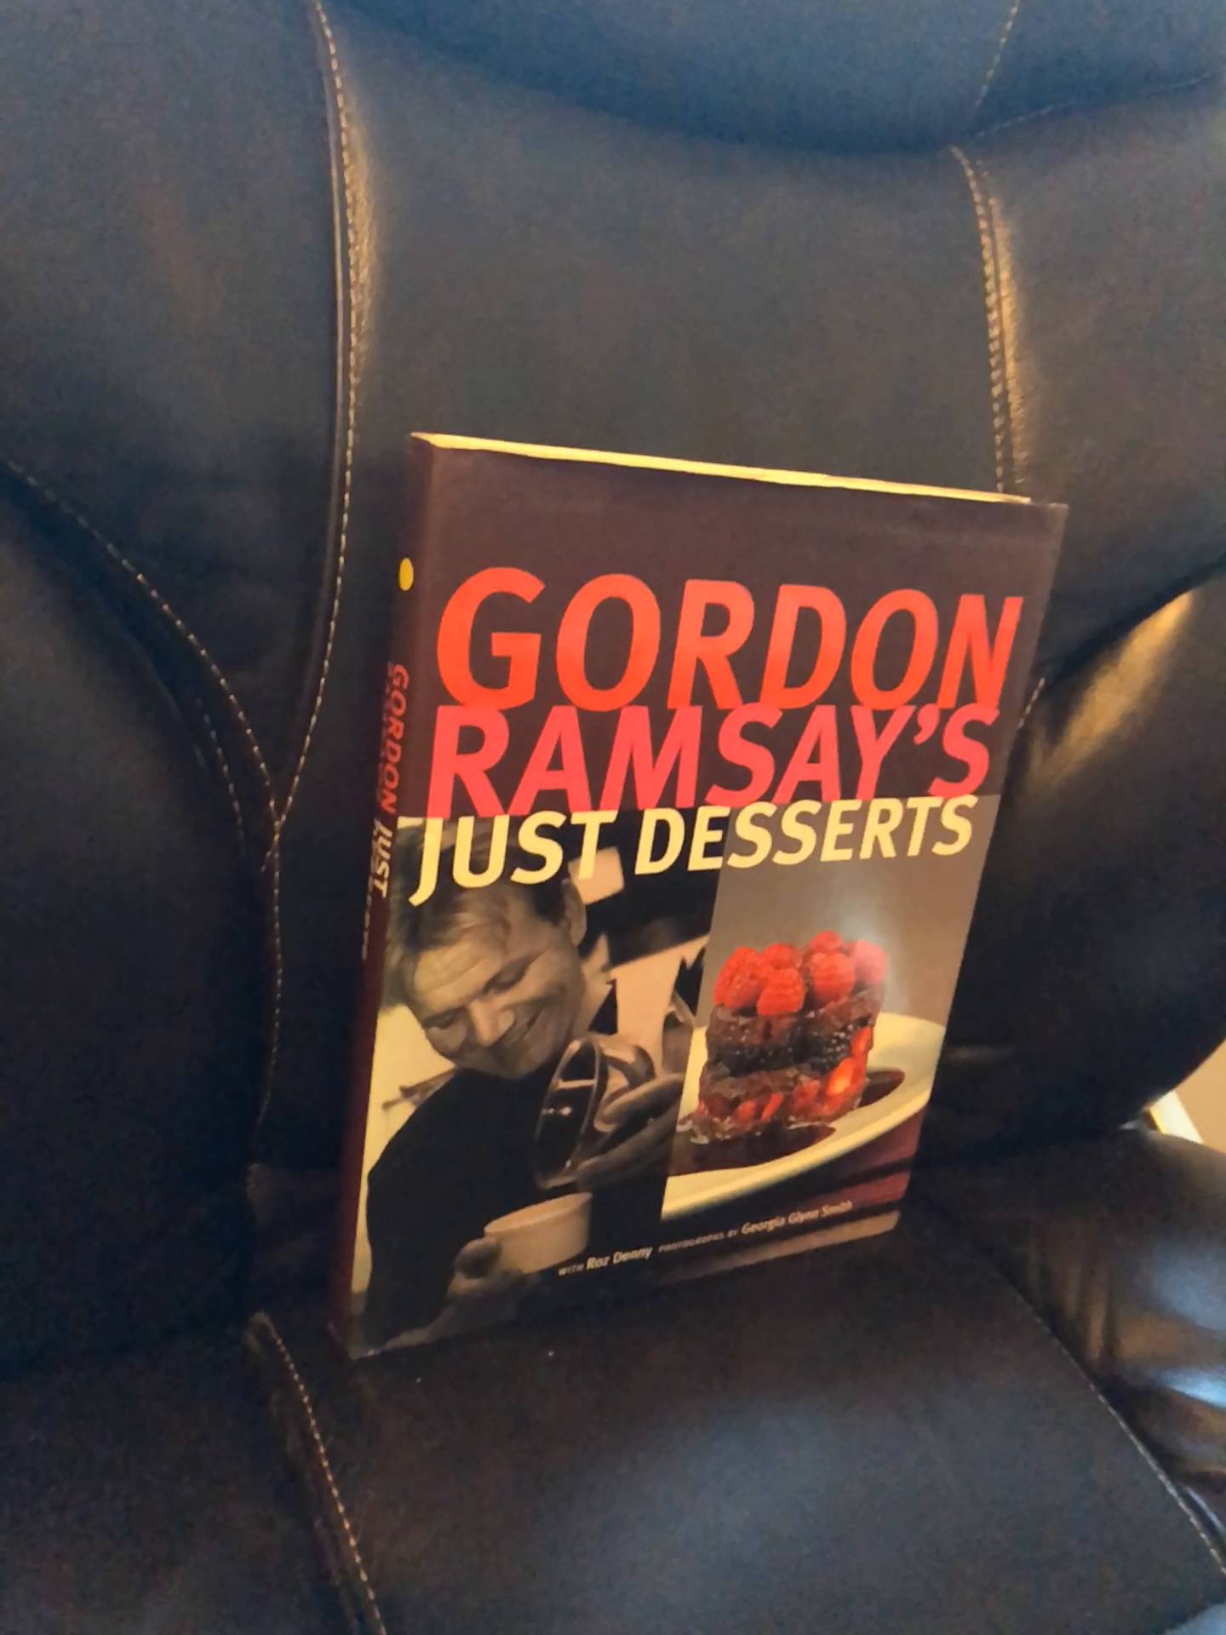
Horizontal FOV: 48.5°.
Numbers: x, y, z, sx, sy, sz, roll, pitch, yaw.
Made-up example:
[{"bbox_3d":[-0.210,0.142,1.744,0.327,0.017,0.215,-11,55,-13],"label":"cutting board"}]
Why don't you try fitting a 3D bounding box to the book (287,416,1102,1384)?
[{"bbox_3d":[0.023,0.034,0.443,0.230,0.293,0.030,-3,25,-29],"label":"book"}]
